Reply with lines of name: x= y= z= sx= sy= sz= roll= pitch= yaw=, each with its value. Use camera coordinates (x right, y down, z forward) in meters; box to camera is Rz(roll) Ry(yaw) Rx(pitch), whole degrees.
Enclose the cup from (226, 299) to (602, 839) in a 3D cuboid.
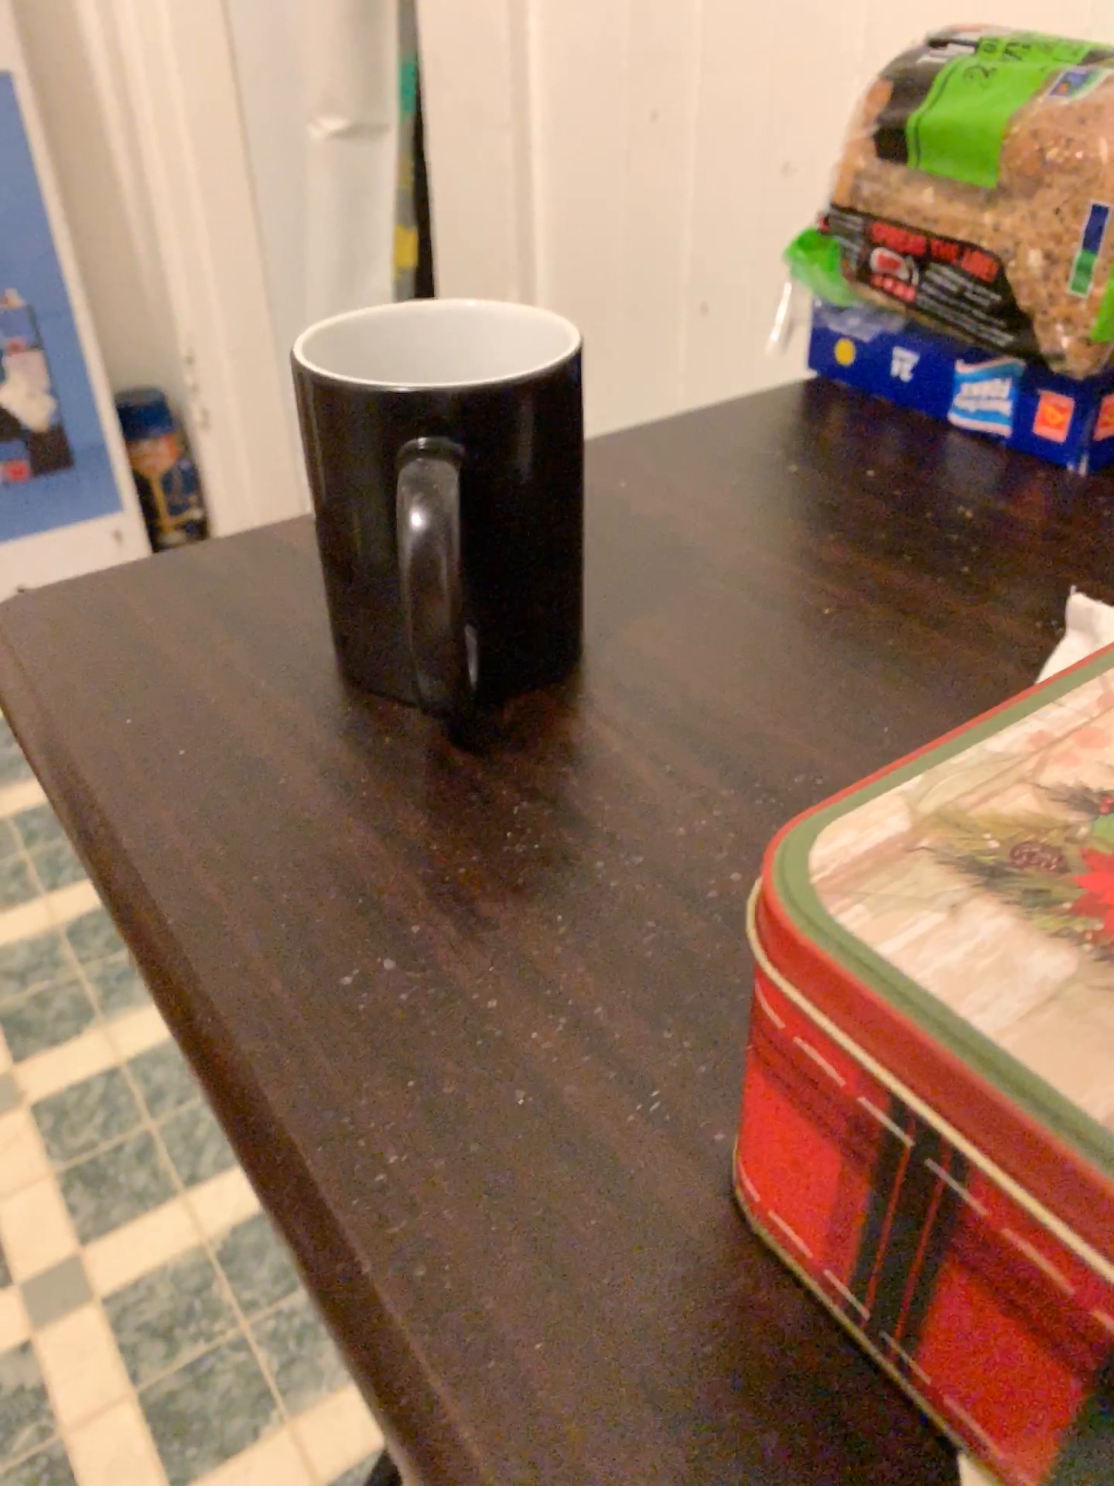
cup: x=-0.033 y=-0.055 z=0.329 sx=0.080 sy=0.099 sz=0.131 roll=-2 pitch=36 yaw=-2
